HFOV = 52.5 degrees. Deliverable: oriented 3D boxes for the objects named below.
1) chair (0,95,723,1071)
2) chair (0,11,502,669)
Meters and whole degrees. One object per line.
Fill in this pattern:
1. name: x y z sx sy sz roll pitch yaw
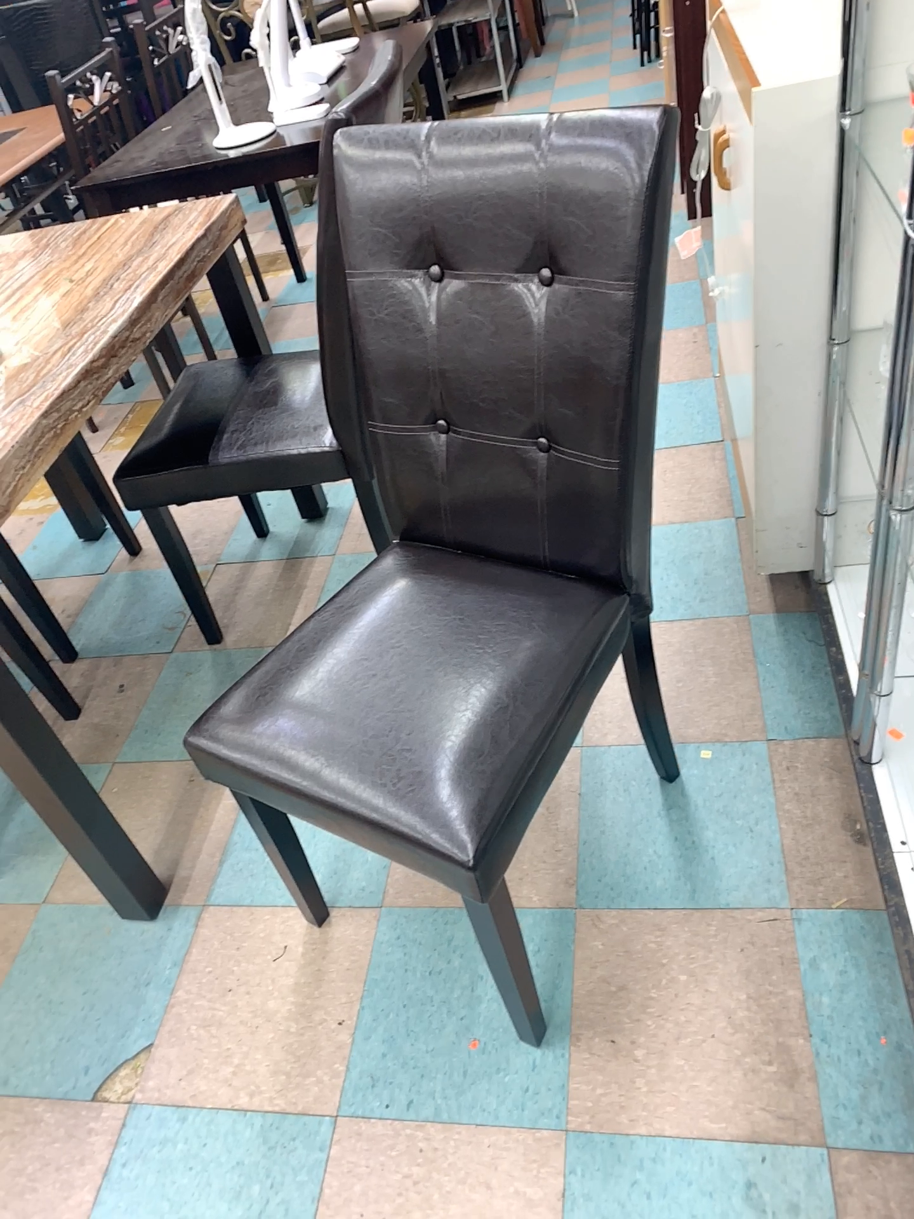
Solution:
1. chair: -0.019 -0.007 1.150 0.471 0.955 0.572 15 49 32
2. chair: -0.331 -0.488 1.821 0.650 0.955 0.673 -6 41 12
